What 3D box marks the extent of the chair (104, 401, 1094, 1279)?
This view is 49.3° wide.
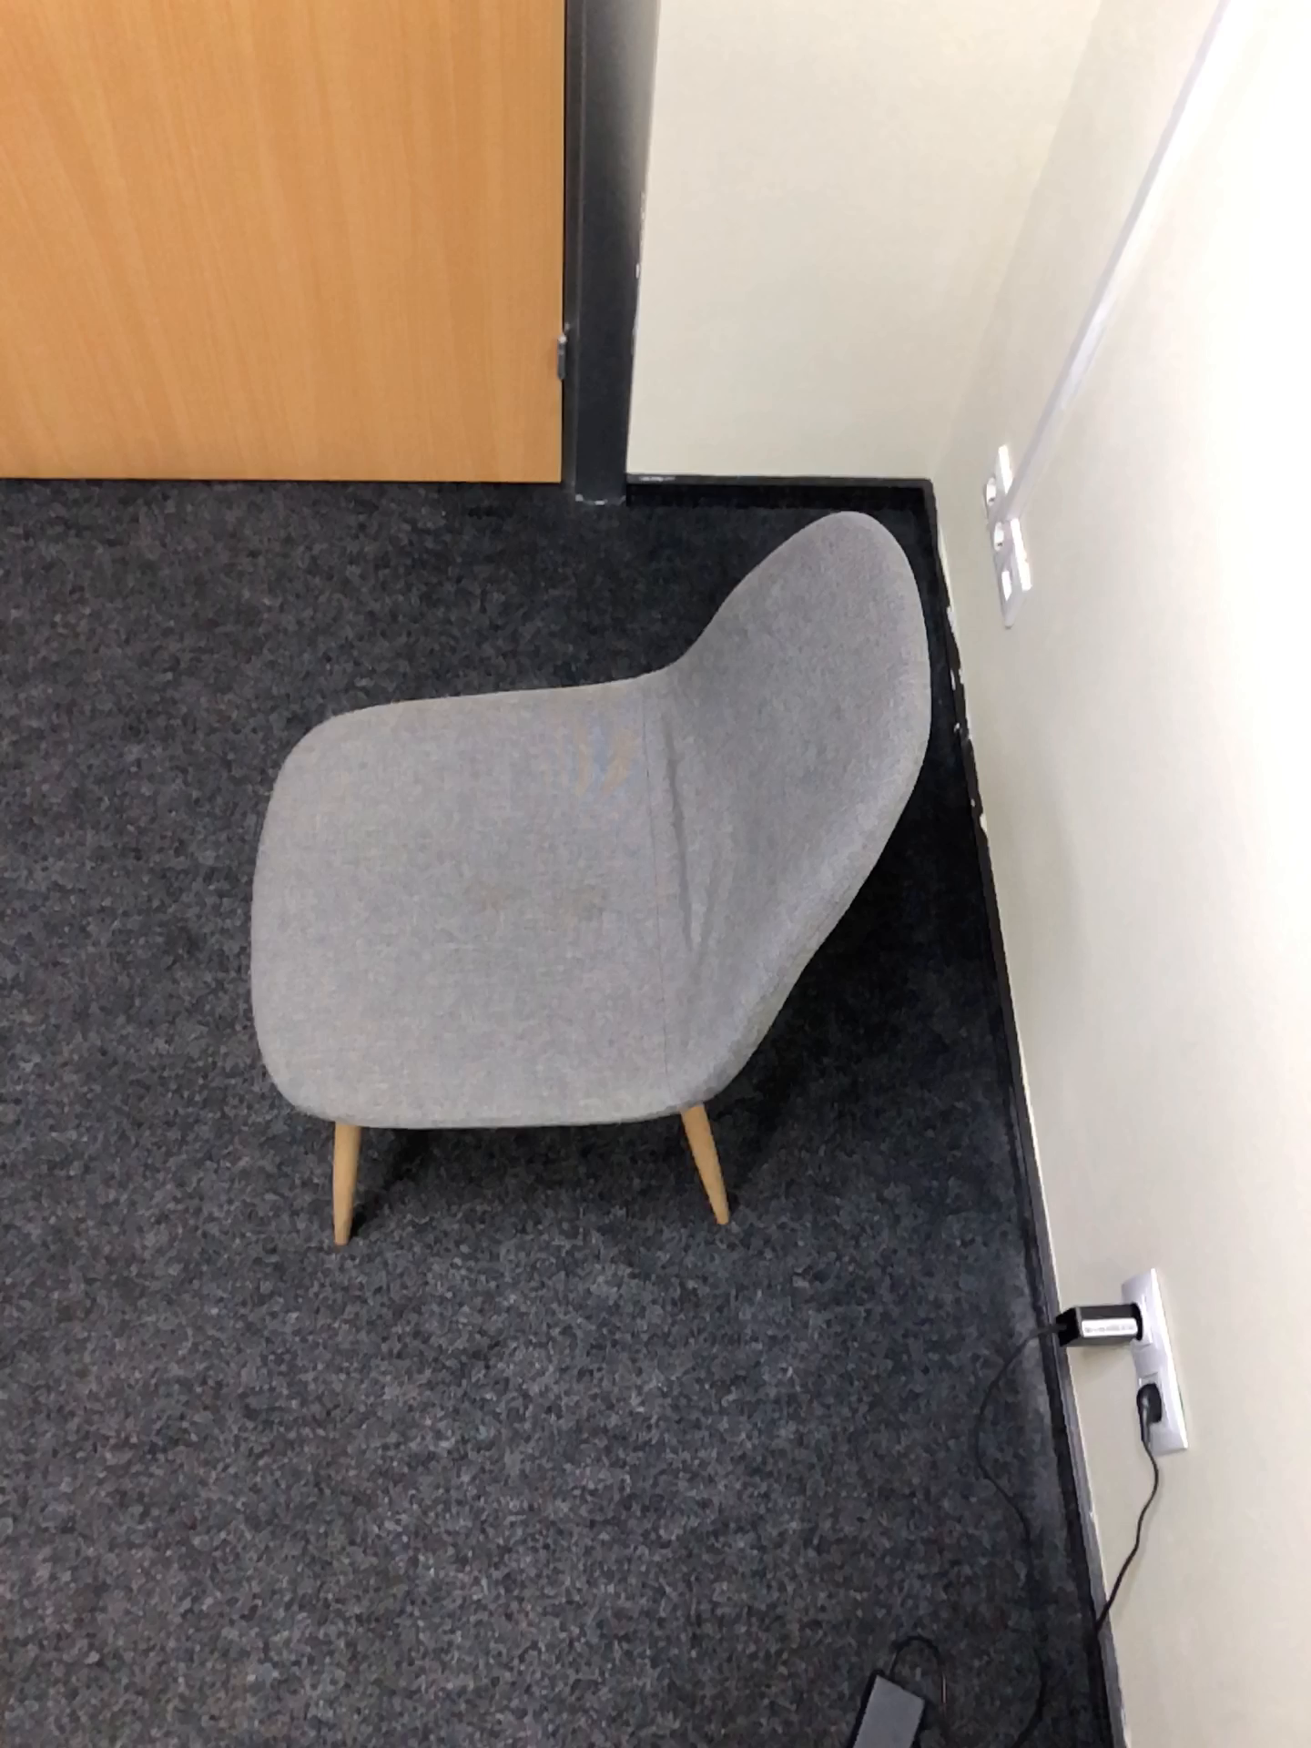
[{"bbox_3d":[-0.071,0.034,1.321,0.600,0.787,0.471,-3,64,-6],"label":"chair"}]
